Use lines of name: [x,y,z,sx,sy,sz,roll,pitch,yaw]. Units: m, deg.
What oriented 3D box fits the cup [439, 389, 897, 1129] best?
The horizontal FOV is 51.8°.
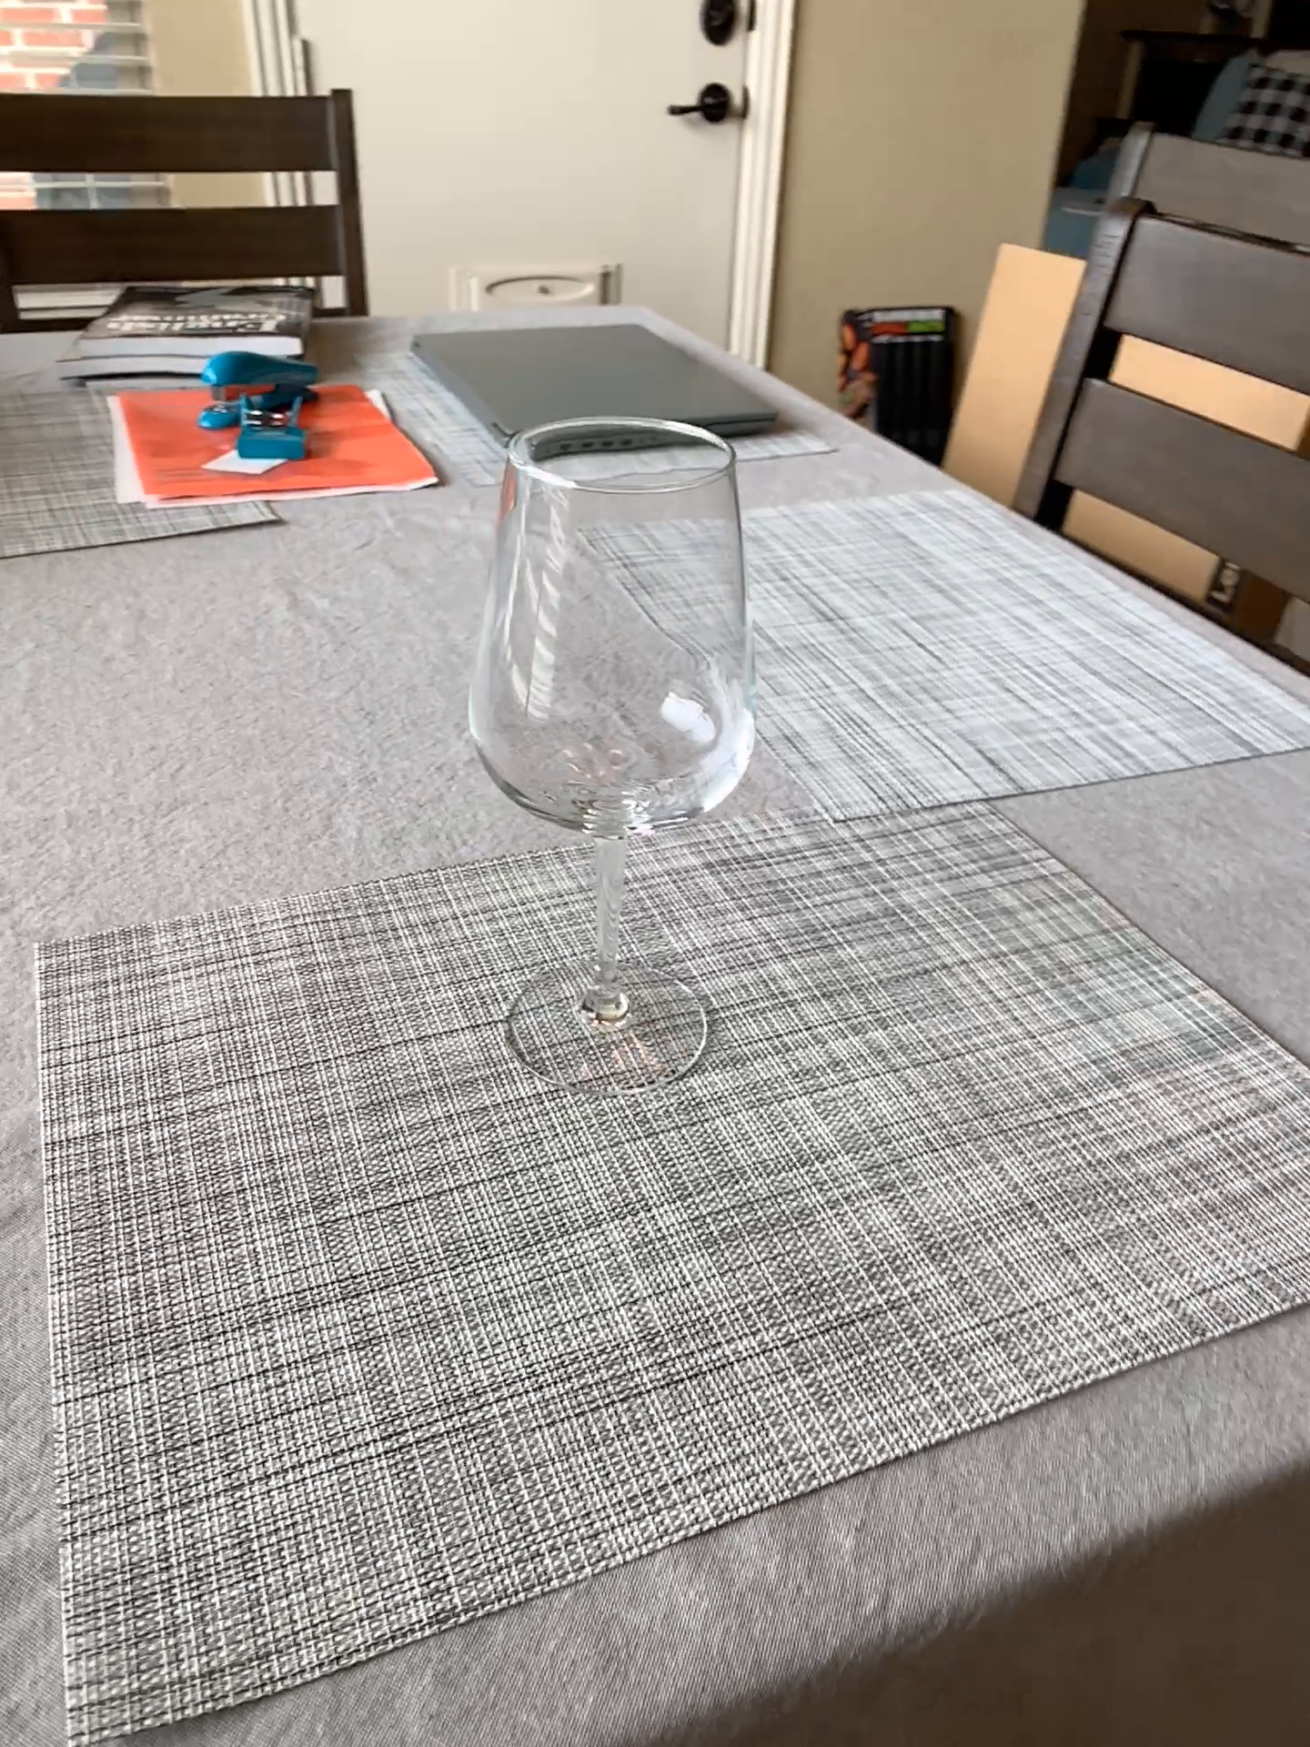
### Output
cup: [-0.005,-0.038,0.452,0.107,0.214,0.101,2,33,-1]
